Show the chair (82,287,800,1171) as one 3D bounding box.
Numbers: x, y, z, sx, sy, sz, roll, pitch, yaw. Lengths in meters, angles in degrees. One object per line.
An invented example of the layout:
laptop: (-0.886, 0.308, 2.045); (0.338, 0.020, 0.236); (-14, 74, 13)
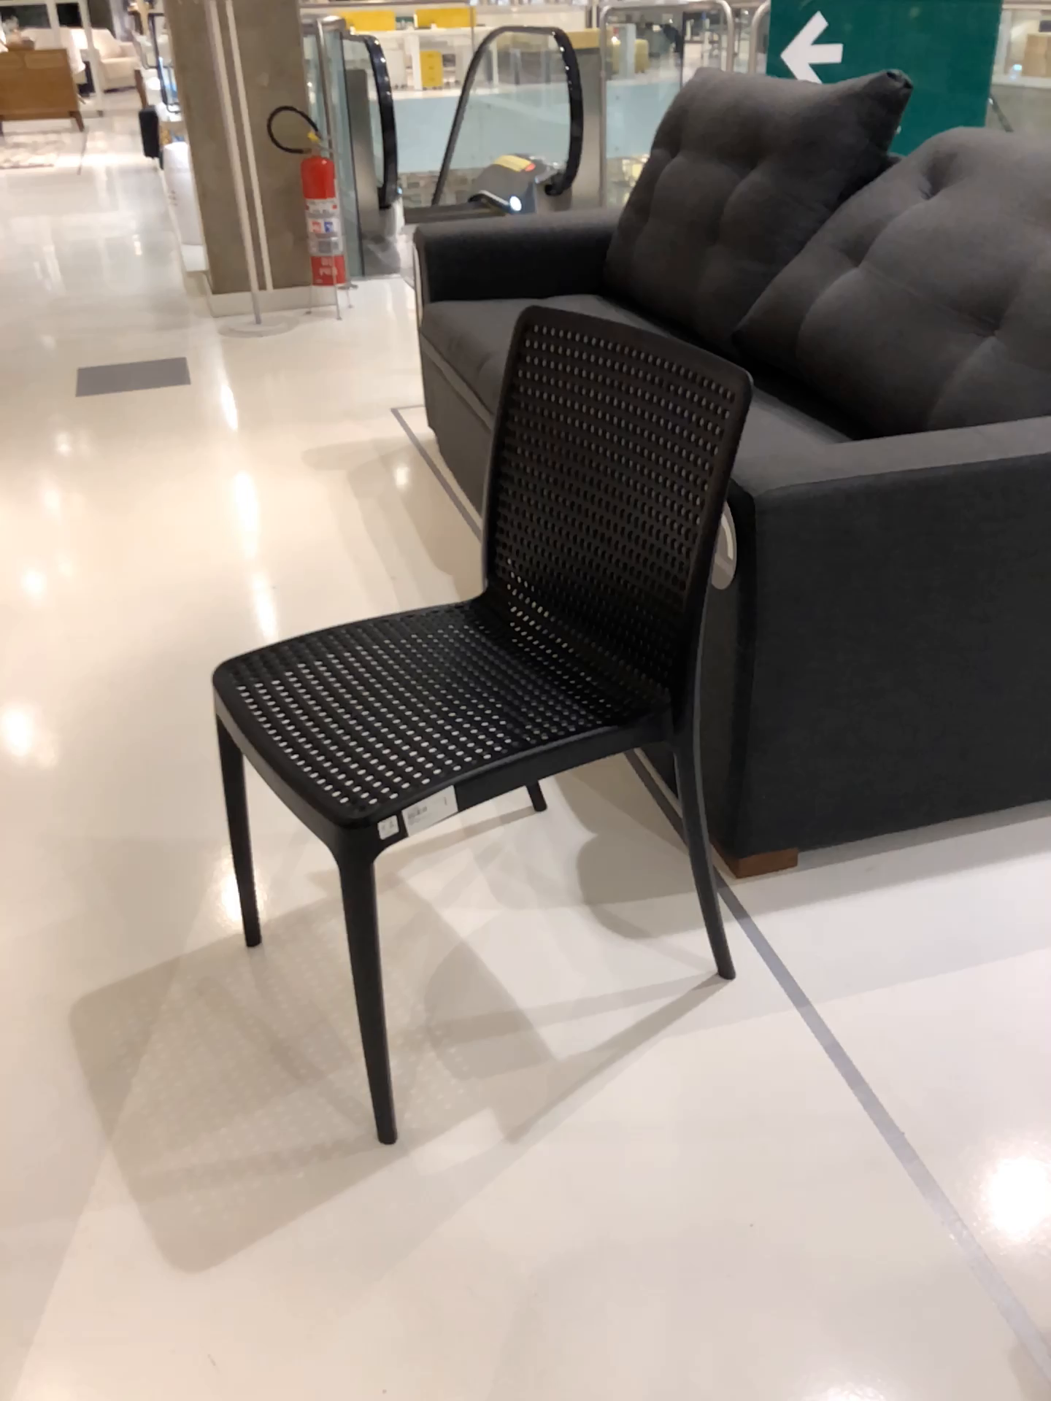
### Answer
chair: (-0.093, -0.014, 1.404); (0.562, 0.784, 0.533); (-20, 35, -28)
